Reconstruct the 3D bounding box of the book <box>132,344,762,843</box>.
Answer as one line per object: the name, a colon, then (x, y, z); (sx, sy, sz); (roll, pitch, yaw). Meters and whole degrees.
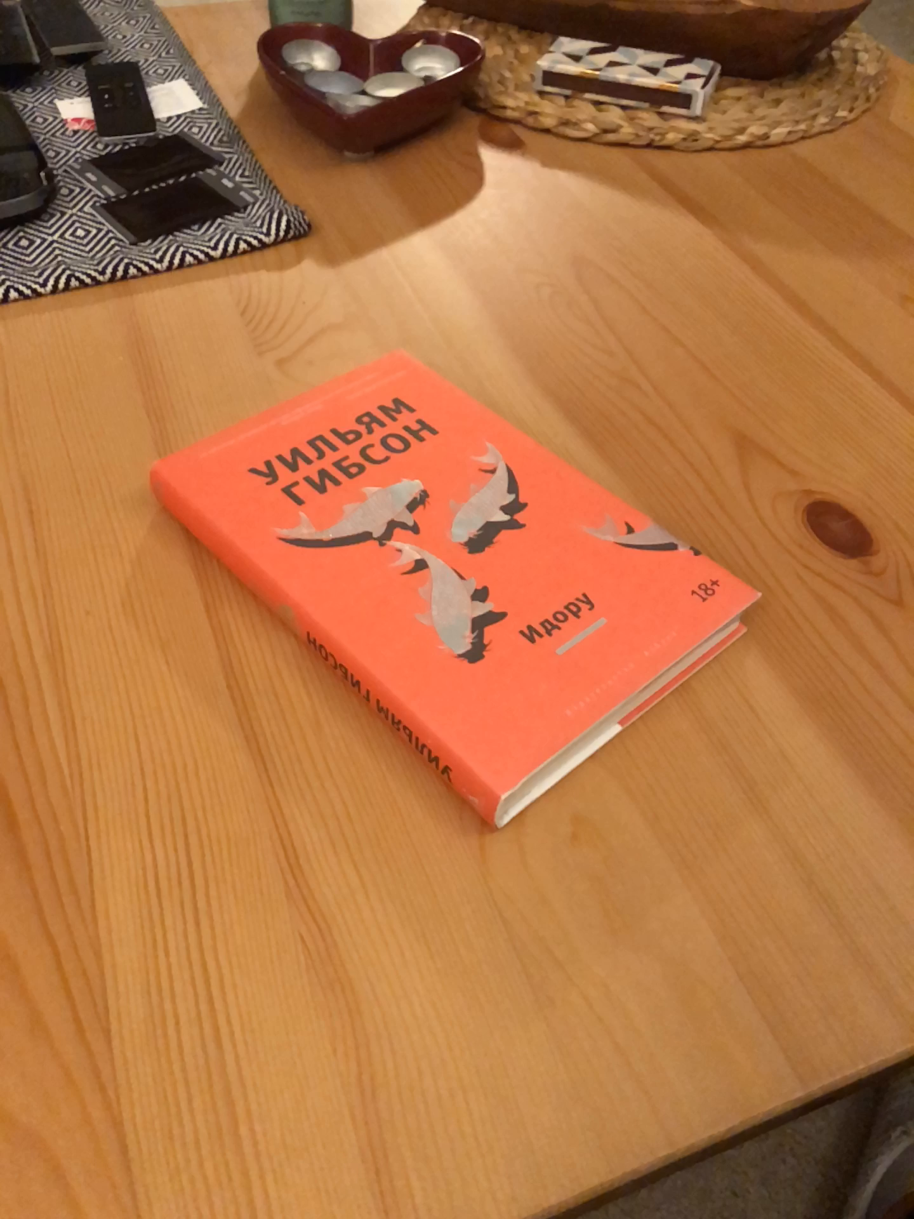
book: (-0.010, -0.025, 0.389); (0.134, 0.020, 0.208); (-33, 57, -29)
